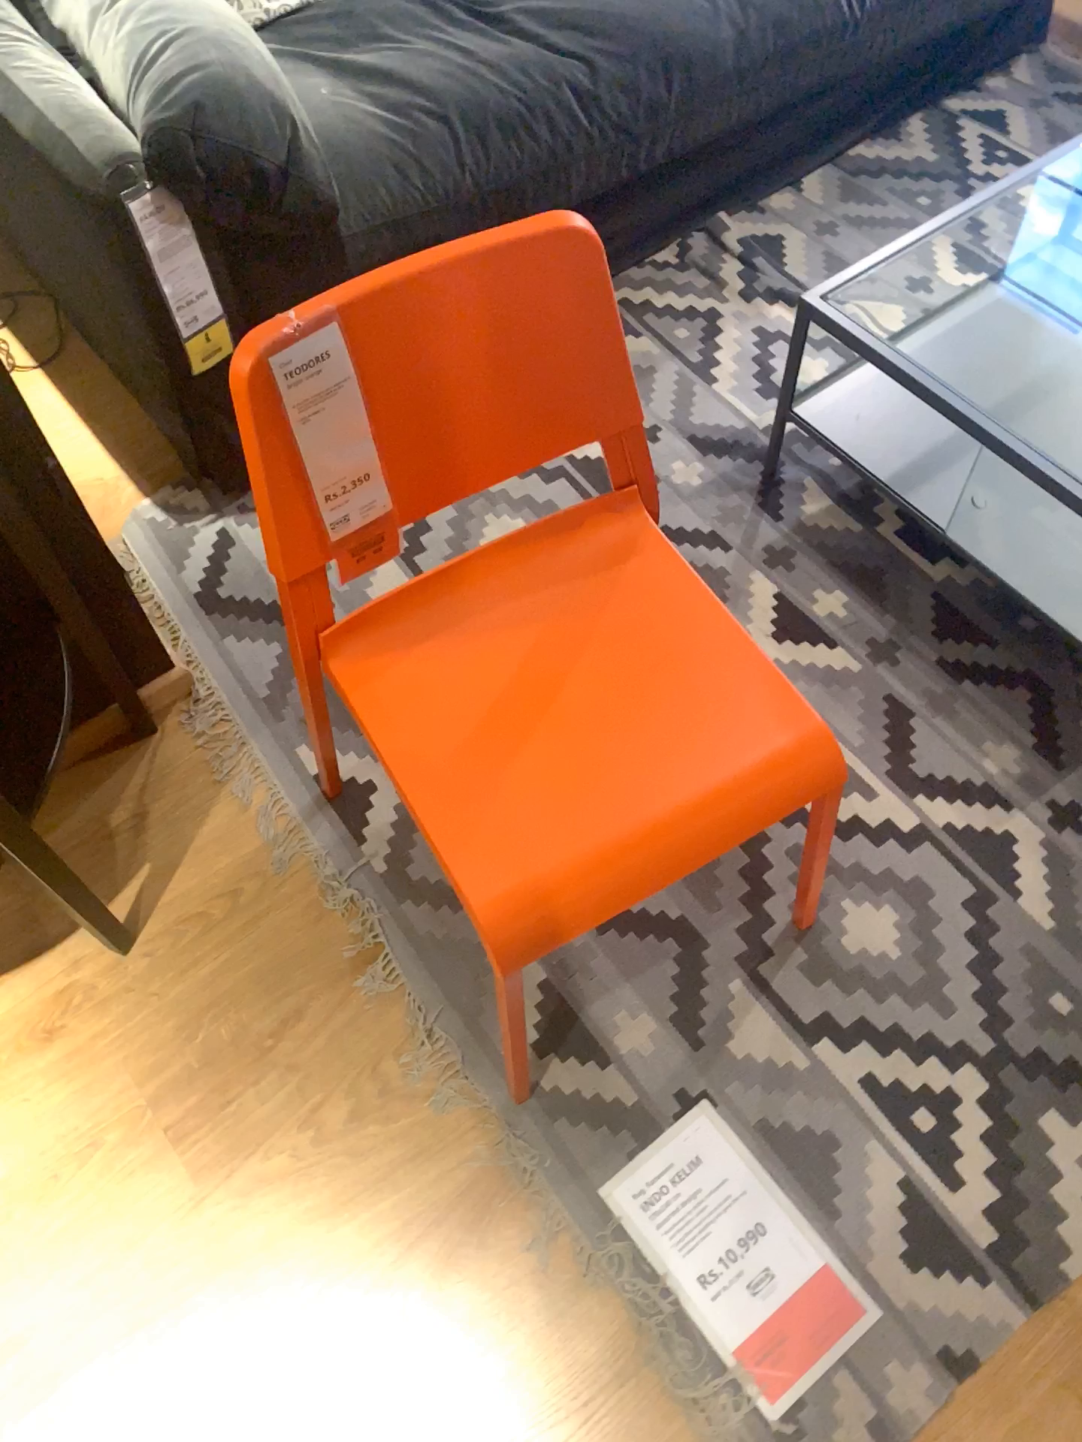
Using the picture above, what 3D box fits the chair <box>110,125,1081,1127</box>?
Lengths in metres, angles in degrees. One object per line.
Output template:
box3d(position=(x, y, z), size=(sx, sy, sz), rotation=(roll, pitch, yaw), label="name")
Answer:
box3d(position=(0.028, -0.039, 1.128), size=(0.510, 0.739, 0.541), rotation=(-28, 62, -14), label="chair")
